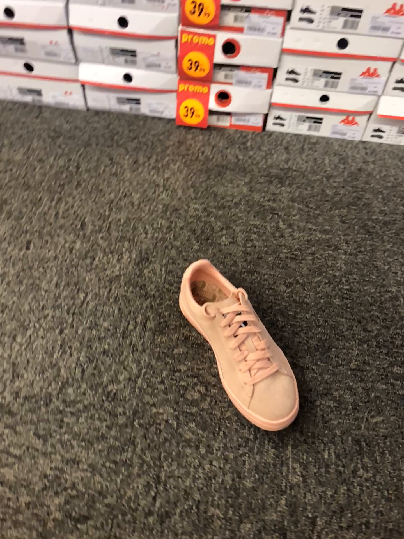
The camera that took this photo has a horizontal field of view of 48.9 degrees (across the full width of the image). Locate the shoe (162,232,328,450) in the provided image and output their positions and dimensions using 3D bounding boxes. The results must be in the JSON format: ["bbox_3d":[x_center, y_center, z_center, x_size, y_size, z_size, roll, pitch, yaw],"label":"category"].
[{"bbox_3d":[0.042,0.087,0.583,0.093,0.090,0.253,-22,64,-17],"label":"shoe"}]
